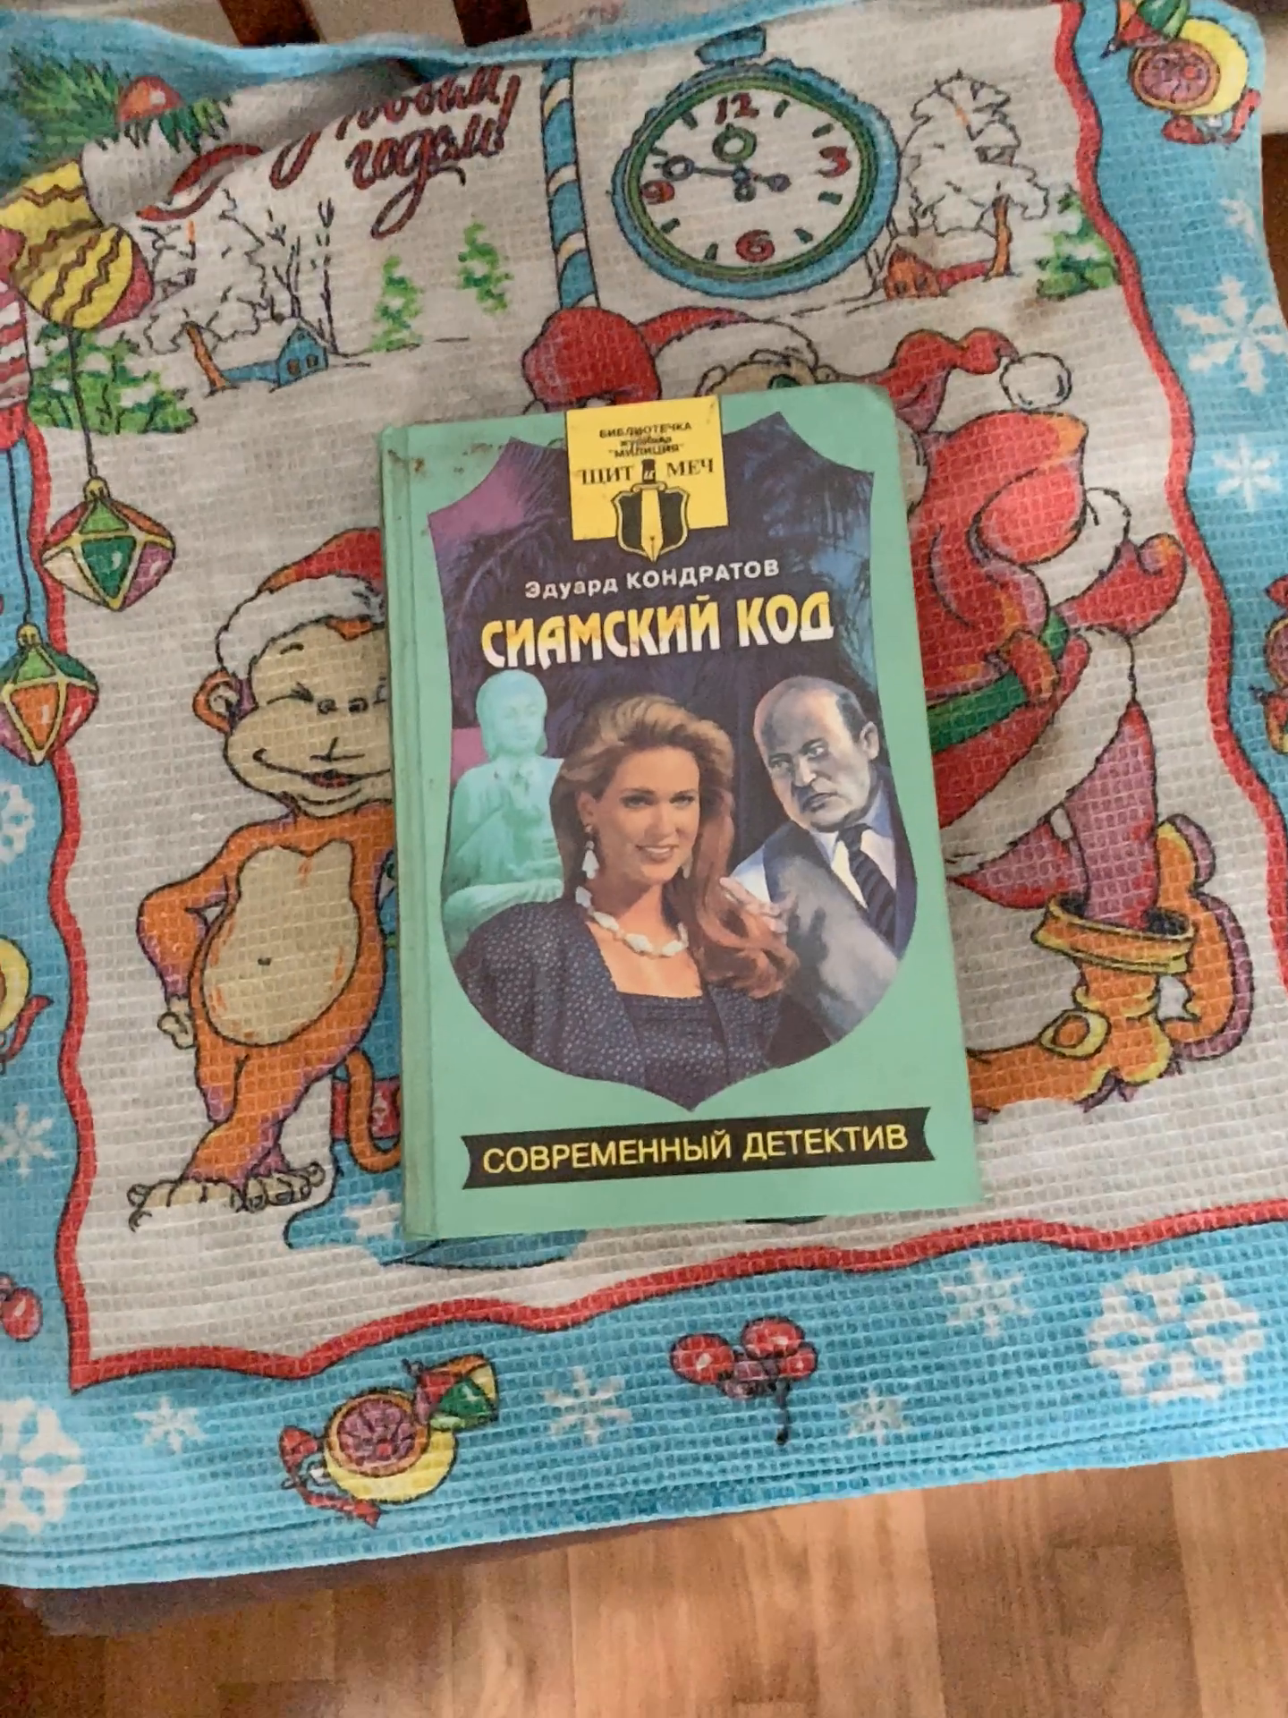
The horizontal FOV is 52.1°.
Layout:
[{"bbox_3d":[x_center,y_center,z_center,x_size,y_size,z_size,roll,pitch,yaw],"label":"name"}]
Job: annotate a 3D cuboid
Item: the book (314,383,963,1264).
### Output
[{"bbox_3d":[-0.006,-0.010,0.323,0.140,0.023,0.200,-5,80,4],"label":"book"}]
